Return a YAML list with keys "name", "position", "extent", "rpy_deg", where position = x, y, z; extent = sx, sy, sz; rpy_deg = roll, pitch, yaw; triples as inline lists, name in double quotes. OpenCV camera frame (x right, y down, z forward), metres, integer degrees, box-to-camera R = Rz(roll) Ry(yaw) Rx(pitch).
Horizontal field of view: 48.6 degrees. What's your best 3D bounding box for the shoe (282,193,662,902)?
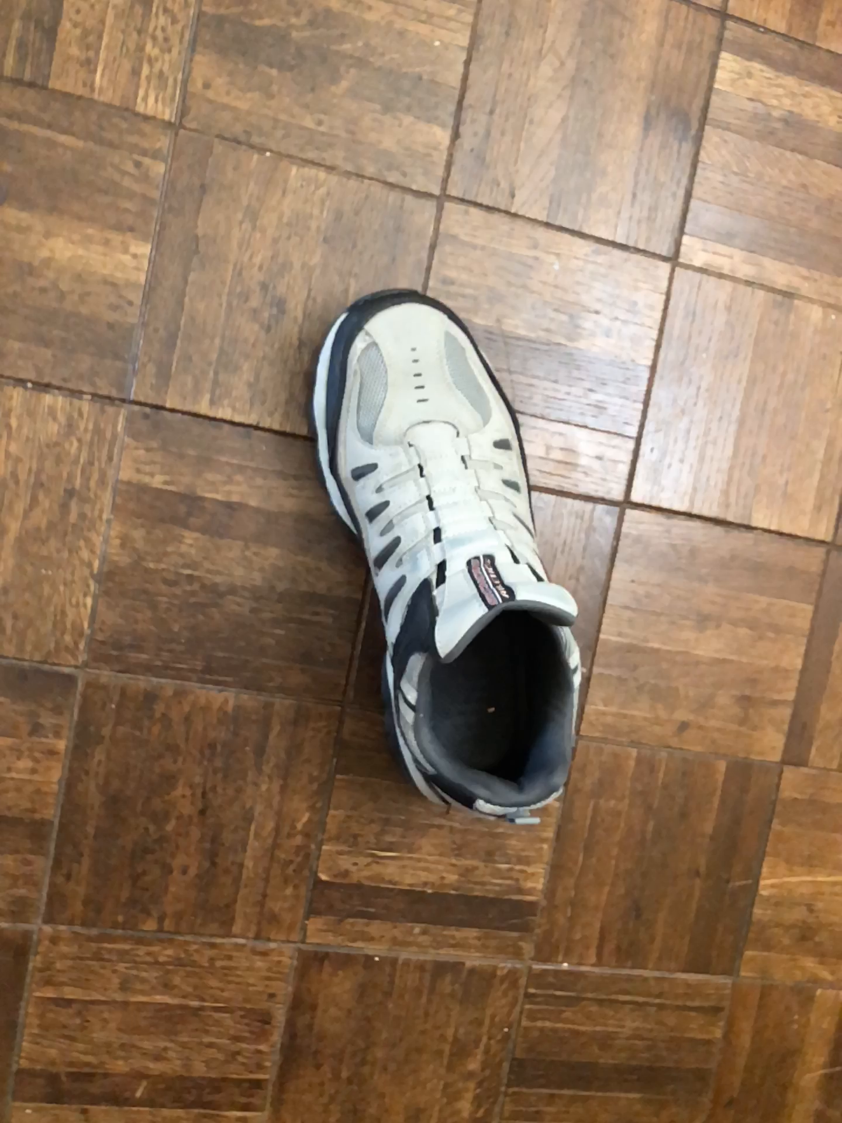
- name: "shoe"
  position: [0.020, -0.009, 0.517]
  extent: [0.120, 0.150, 0.320]
  rpy_deg: [-12, 98, -11]
